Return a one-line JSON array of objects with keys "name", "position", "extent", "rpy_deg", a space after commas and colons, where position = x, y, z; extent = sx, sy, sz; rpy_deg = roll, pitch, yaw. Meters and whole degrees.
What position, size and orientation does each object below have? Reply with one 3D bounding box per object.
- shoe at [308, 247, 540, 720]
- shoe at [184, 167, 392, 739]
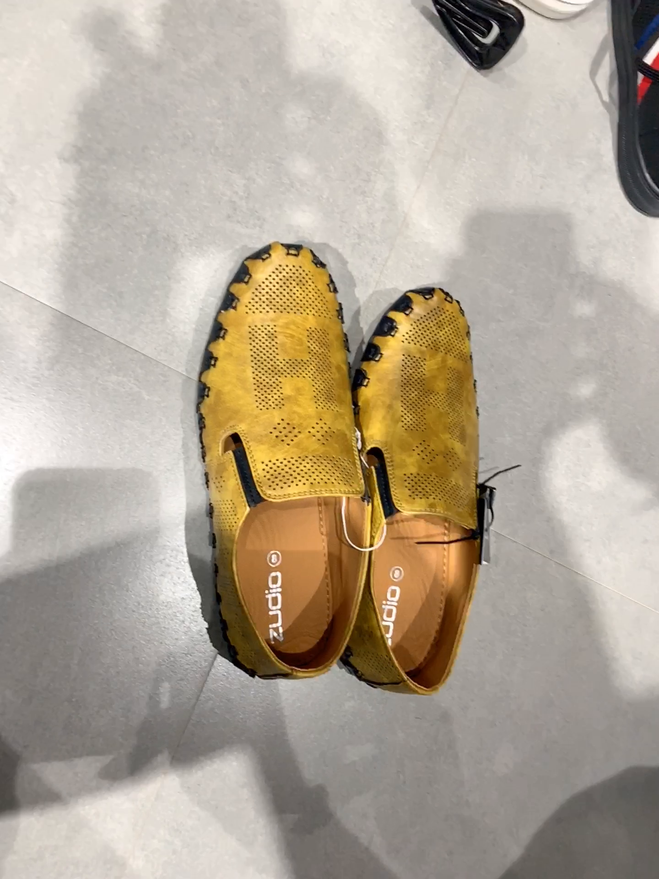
[{"name": "shoe", "position": [0.065, 0.031, 0.467], "extent": [0.110, 0.080, 0.290], "rpy_deg": [8, 84, -21]}, {"name": "shoe", "position": [-0.032, 0.008, 0.450], "extent": [0.100, 0.120, 0.320], "rpy_deg": [2, 86, -22]}]
